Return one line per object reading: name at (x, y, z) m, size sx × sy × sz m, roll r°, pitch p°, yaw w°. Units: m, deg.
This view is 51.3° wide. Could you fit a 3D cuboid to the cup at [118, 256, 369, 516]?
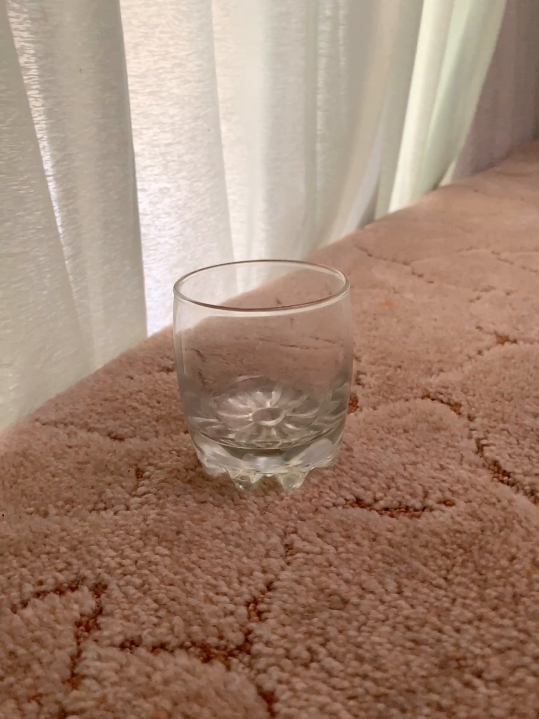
cup at (-0.003, 0.006, 0.267) m, size 0.090 × 0.089 × 0.081 m, roll 3°, pitch 27°, yaw 17°
